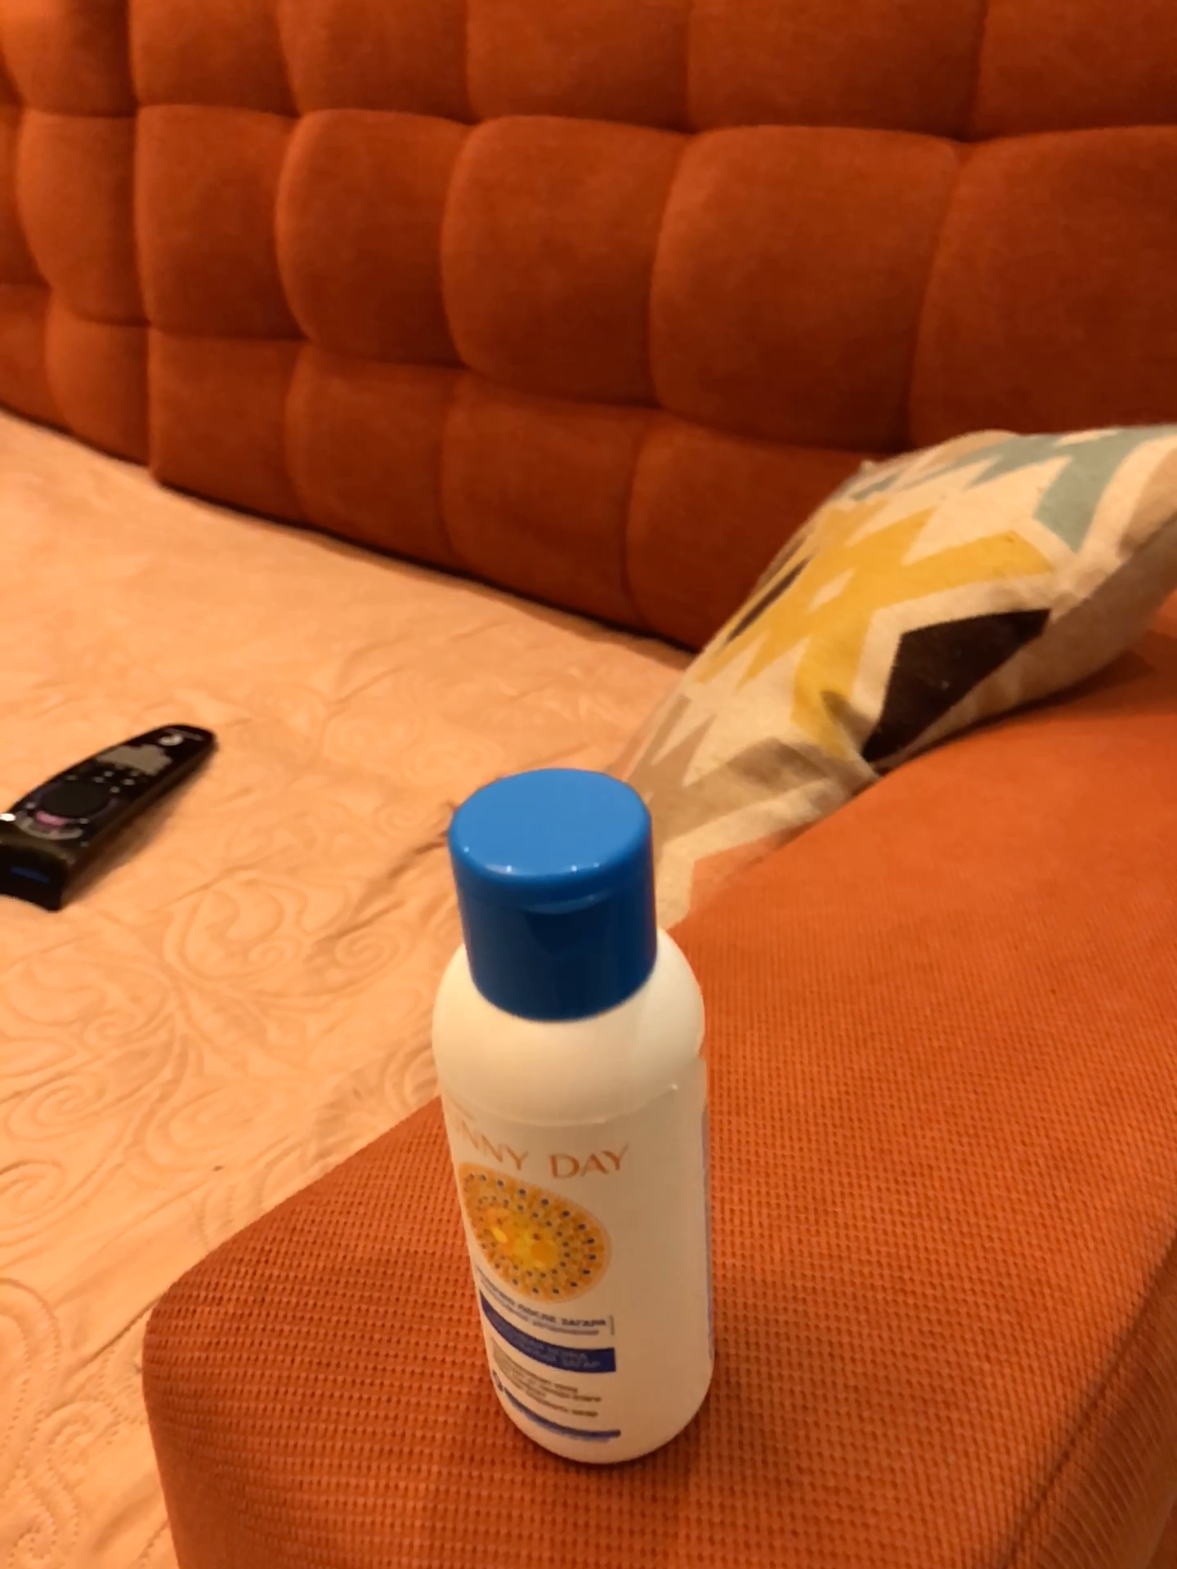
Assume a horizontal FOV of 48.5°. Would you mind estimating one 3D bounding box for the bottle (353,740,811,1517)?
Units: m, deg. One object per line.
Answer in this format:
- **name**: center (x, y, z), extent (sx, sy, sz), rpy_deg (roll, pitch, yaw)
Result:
- **bottle**: center (0.003, 0.055, 0.197), extent (0.046, 0.111, 0.044), rpy_deg (-1, 36, 1)
